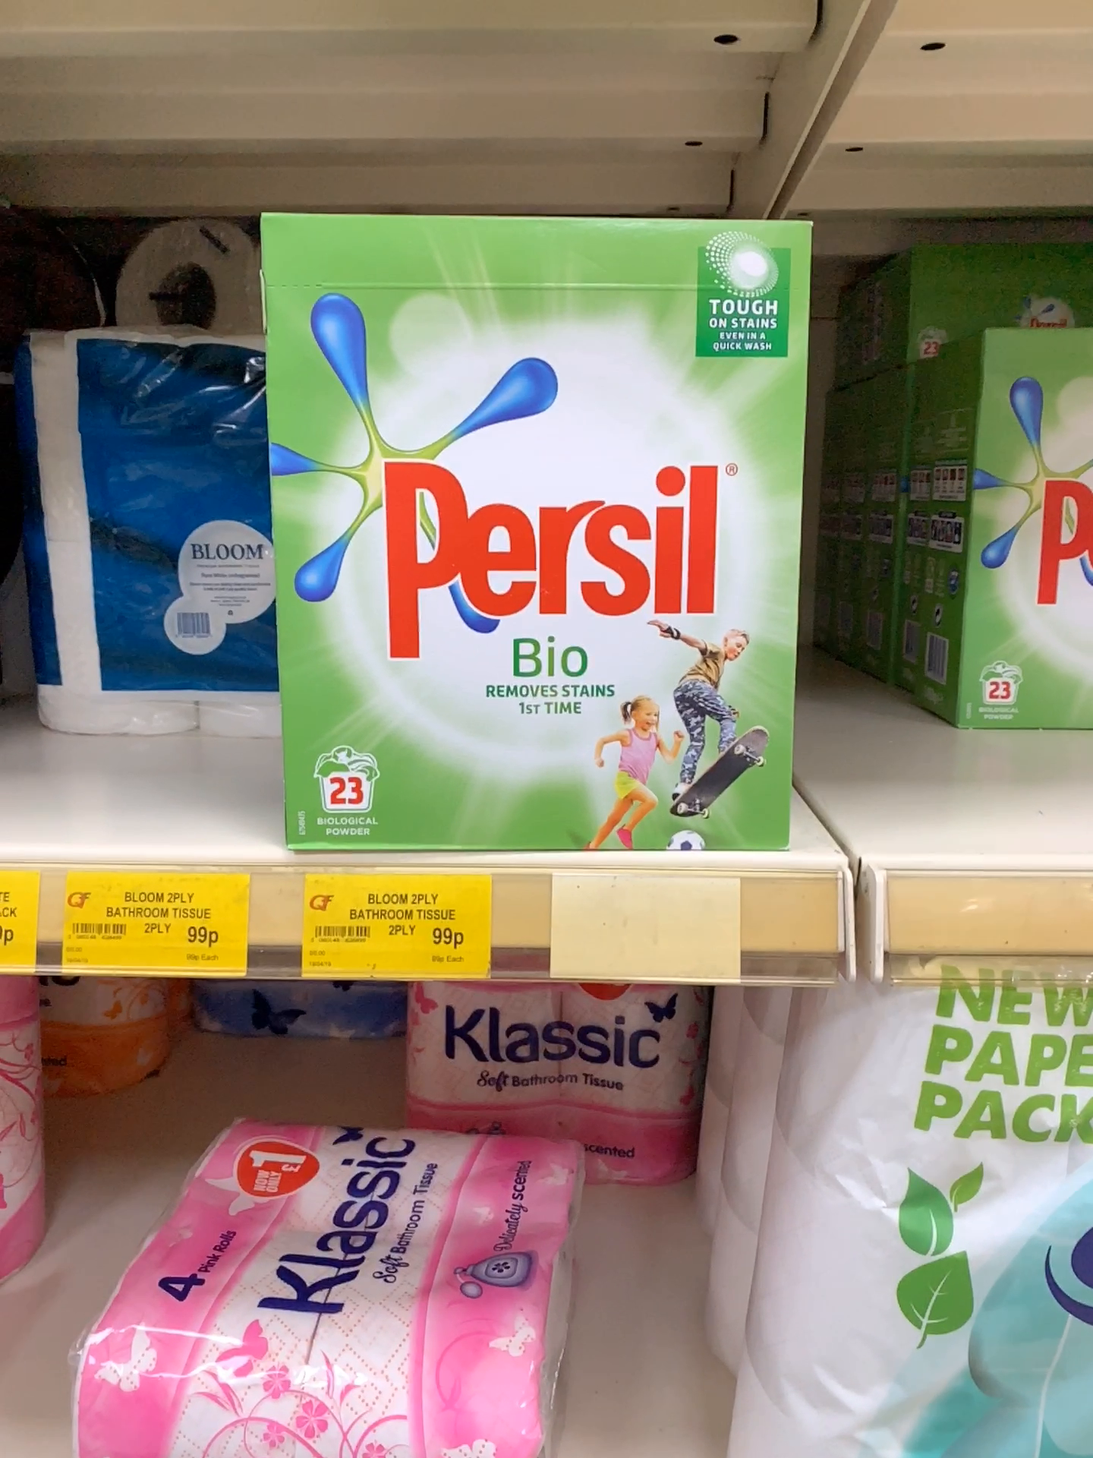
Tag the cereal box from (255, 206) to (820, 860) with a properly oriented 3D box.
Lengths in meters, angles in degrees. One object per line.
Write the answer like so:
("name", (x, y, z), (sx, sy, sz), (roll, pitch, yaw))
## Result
("cereal box", (-0.003, -0.076, 0.463), (0.200, 0.239, 0.090), (0, 10, 0))
